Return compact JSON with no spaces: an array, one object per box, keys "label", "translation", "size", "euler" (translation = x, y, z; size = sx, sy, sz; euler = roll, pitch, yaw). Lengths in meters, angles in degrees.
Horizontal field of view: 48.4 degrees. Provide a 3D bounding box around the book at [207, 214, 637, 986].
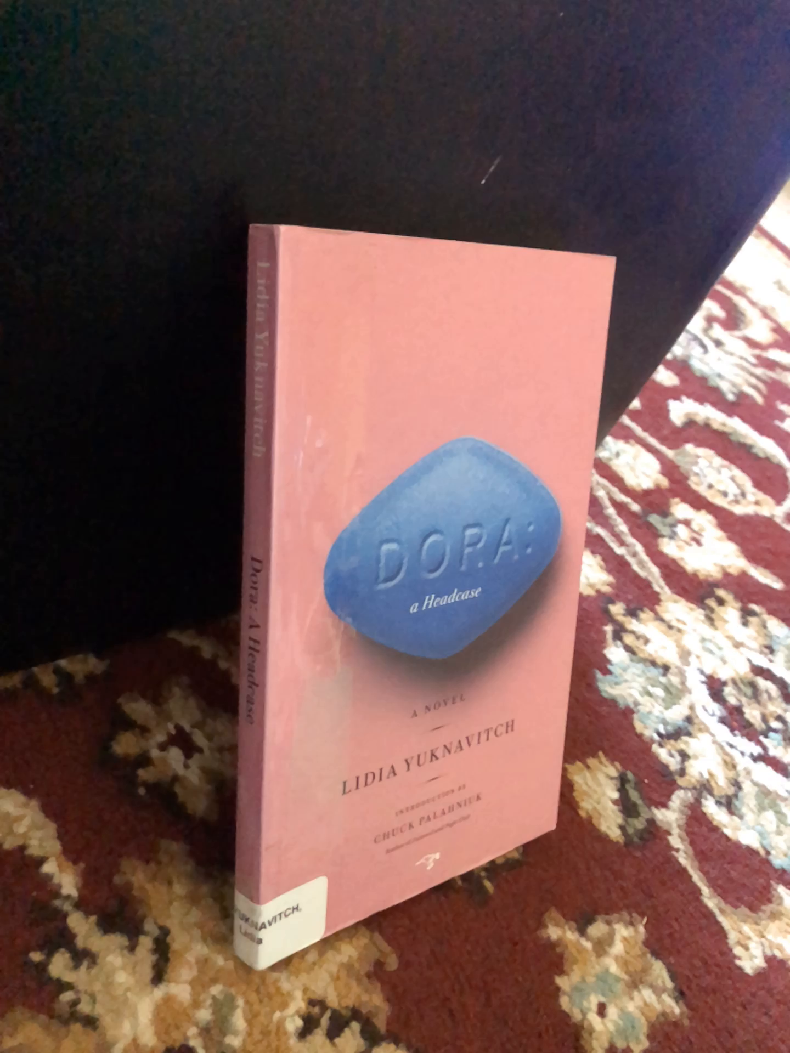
[{"label":"book","translation":[0.010,0.021,0.304],"size":[0.149,0.231,0.030],"euler":[-9,19,-38]}]
